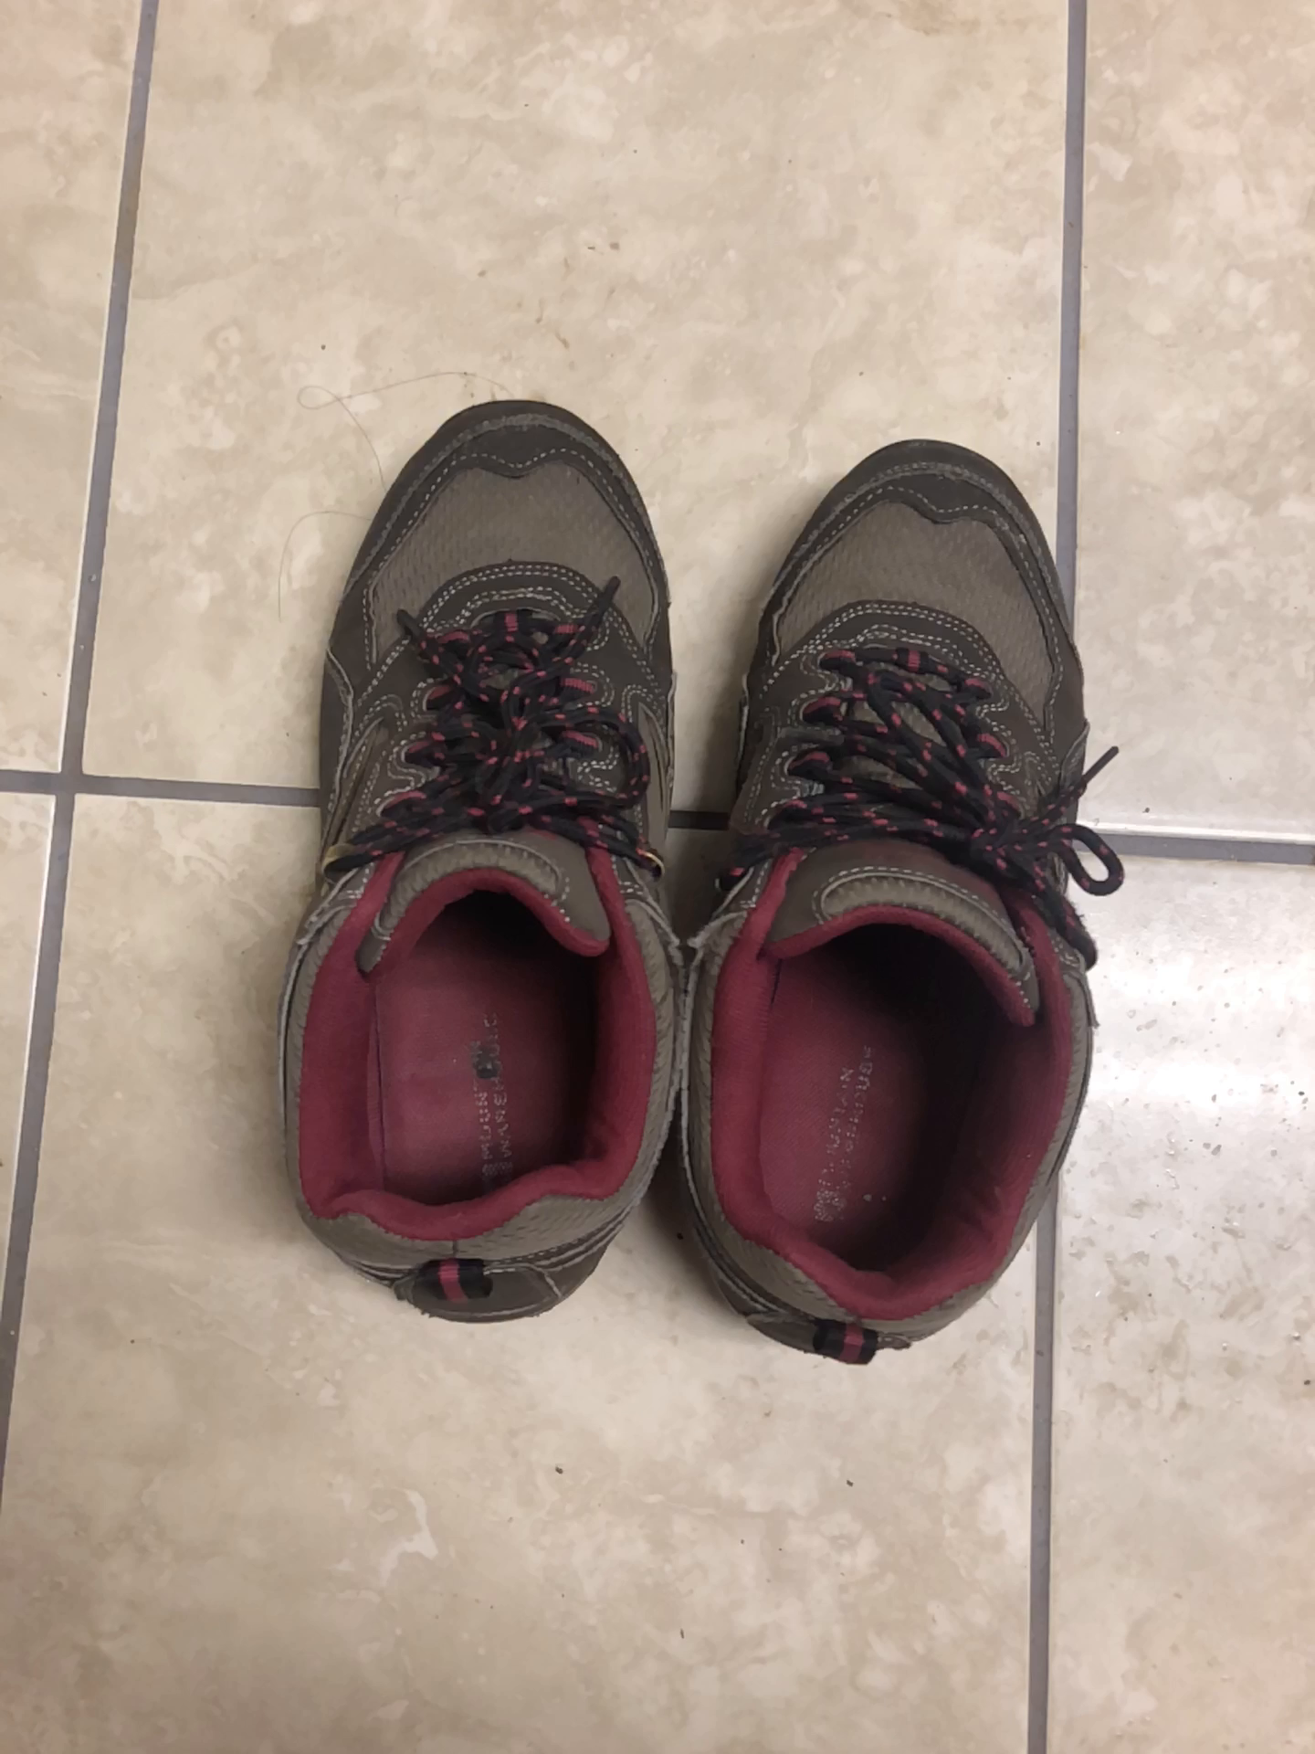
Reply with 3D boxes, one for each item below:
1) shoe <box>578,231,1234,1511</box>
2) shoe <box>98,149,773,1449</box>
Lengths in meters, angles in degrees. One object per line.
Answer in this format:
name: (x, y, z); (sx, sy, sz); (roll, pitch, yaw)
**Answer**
shoe: (0.055, -0.001, 0.365); (0.110, 0.120, 0.260); (8, 83, 0)
shoe: (-0.044, -0.017, 0.364); (0.120, 0.120, 0.270); (4, 83, -1)
